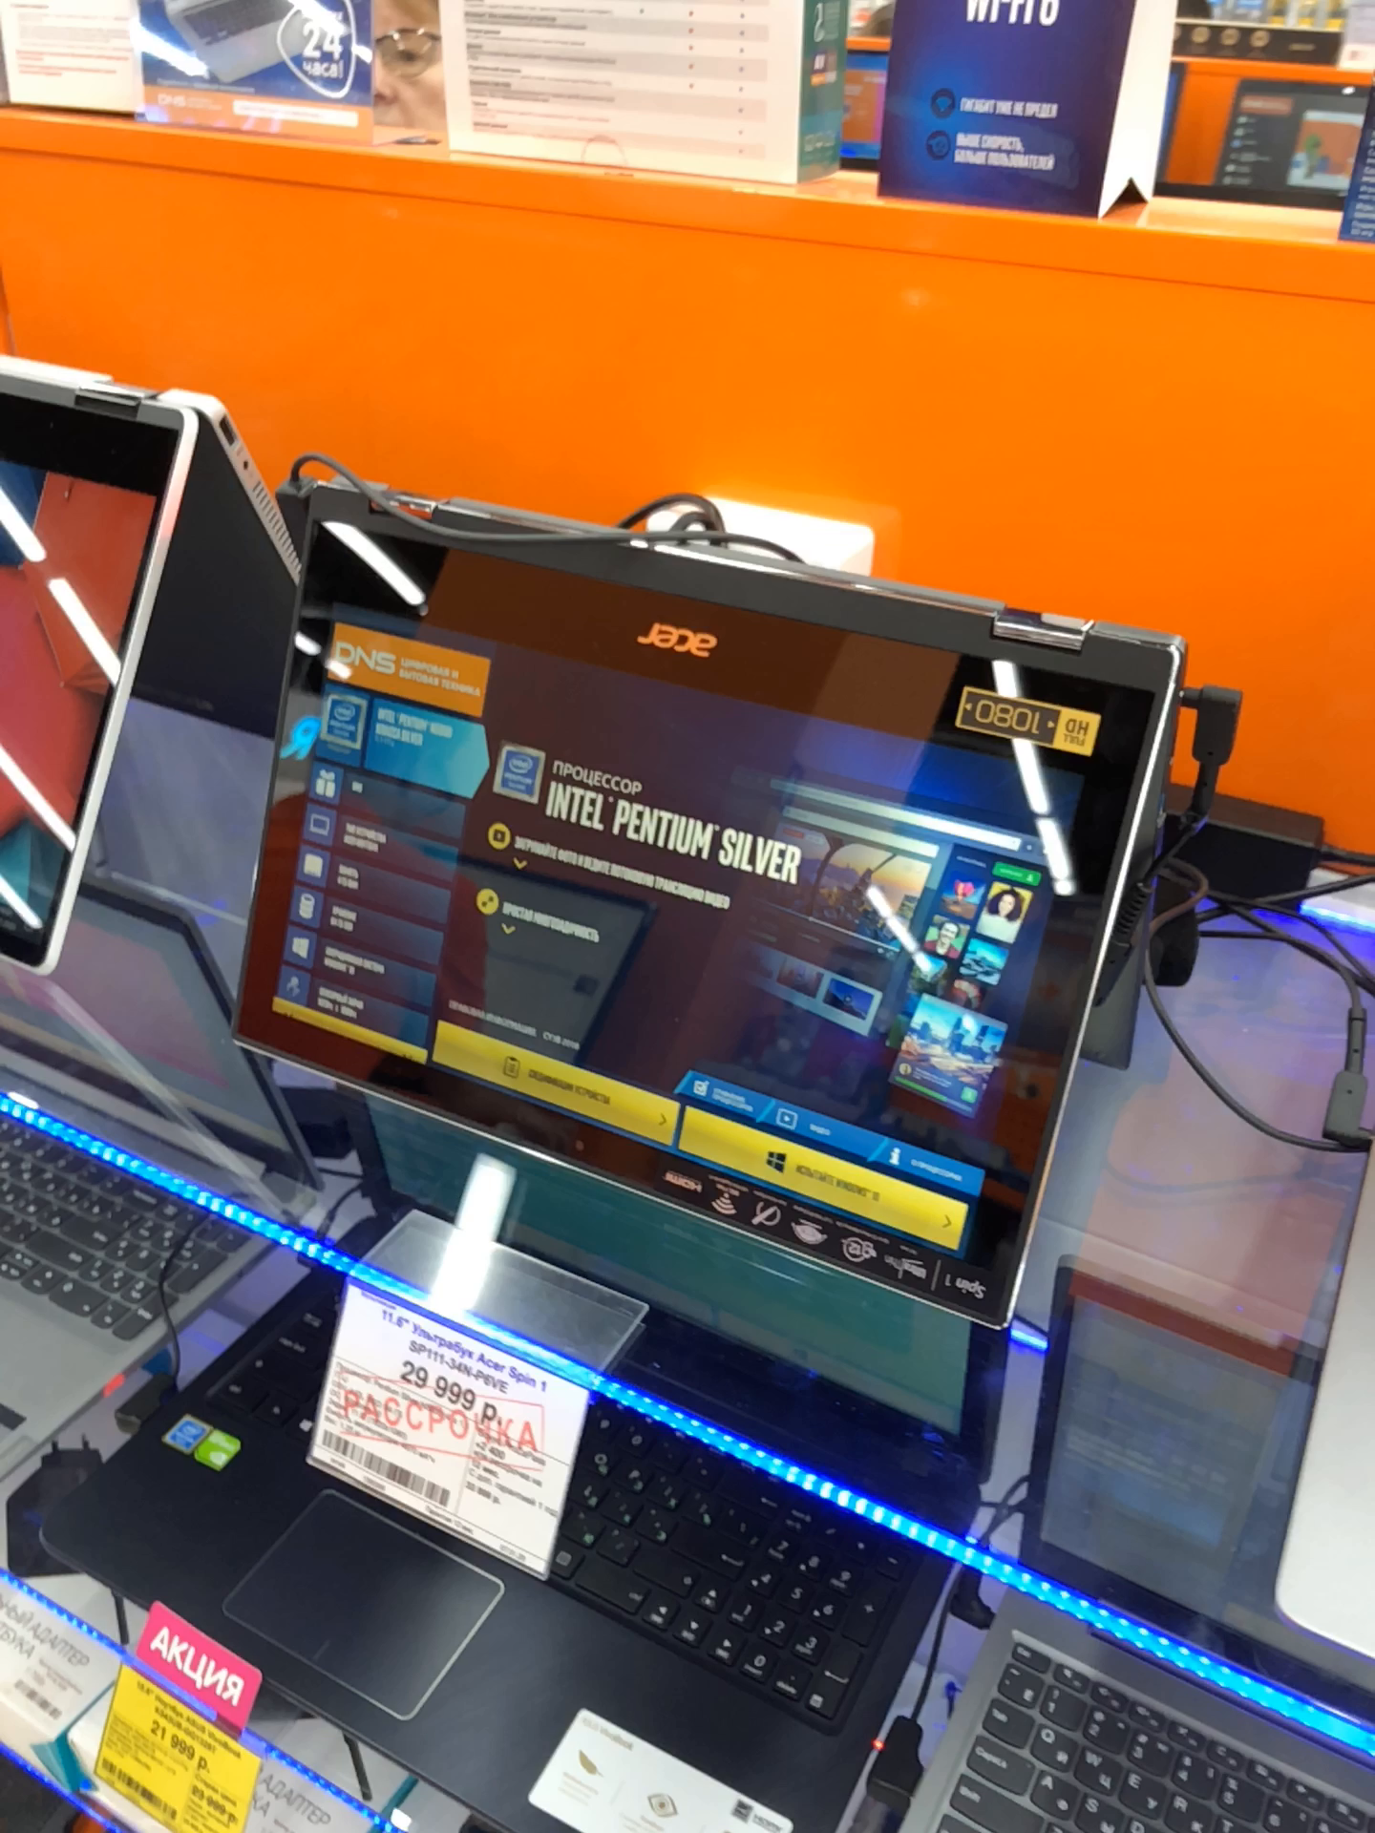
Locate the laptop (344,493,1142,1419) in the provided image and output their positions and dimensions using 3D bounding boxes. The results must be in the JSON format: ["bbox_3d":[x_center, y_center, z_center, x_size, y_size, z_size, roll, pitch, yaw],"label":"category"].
[{"bbox_3d":[0.014,0.034,0.585,0.277,0.142,0.181,18,-5,26],"label":"laptop"}]

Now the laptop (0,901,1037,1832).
[{"bbox_3d":[-0.078,0.186,0.659,0.361,0.222,0.239,17,33,23],"label":"laptop"}]

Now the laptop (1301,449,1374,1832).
[{"bbox_3d":[0.363,0.059,0.345,0.350,0.209,0.273,16,34,21],"label":"laptop"}]

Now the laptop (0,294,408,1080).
[{"bbox_3d":[-0.303,-0.094,0.752,0.299,0.149,0.182,17,-2,22],"label":"laptop"}]

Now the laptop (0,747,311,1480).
[{"bbox_3d":[-0.437,0.083,0.820,0.363,0.202,0.223,17,36,25],"label":"laptop"}]
